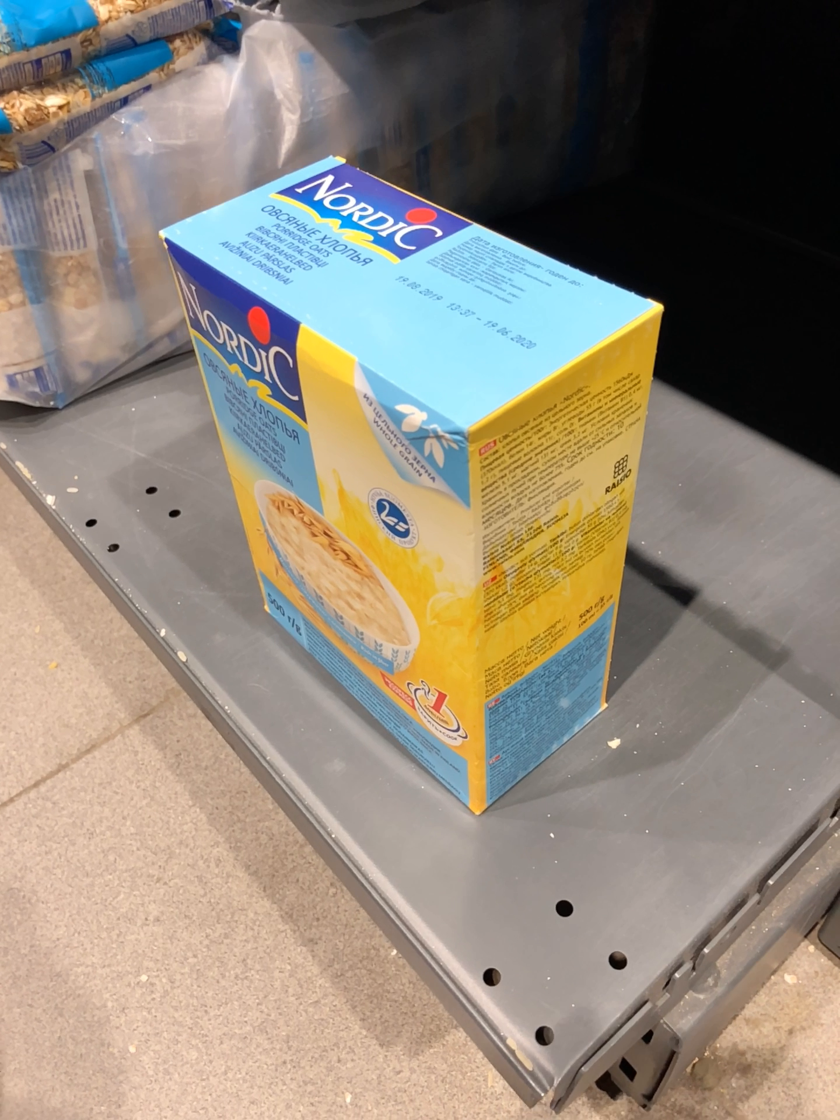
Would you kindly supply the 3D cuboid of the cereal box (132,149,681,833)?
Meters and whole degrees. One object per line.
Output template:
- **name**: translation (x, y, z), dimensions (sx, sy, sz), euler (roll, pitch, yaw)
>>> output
- **cereal box**: translation (-0.007, -0.023, 0.332), dimensions (0.080, 0.179, 0.151), euler (-33, 52, -26)
